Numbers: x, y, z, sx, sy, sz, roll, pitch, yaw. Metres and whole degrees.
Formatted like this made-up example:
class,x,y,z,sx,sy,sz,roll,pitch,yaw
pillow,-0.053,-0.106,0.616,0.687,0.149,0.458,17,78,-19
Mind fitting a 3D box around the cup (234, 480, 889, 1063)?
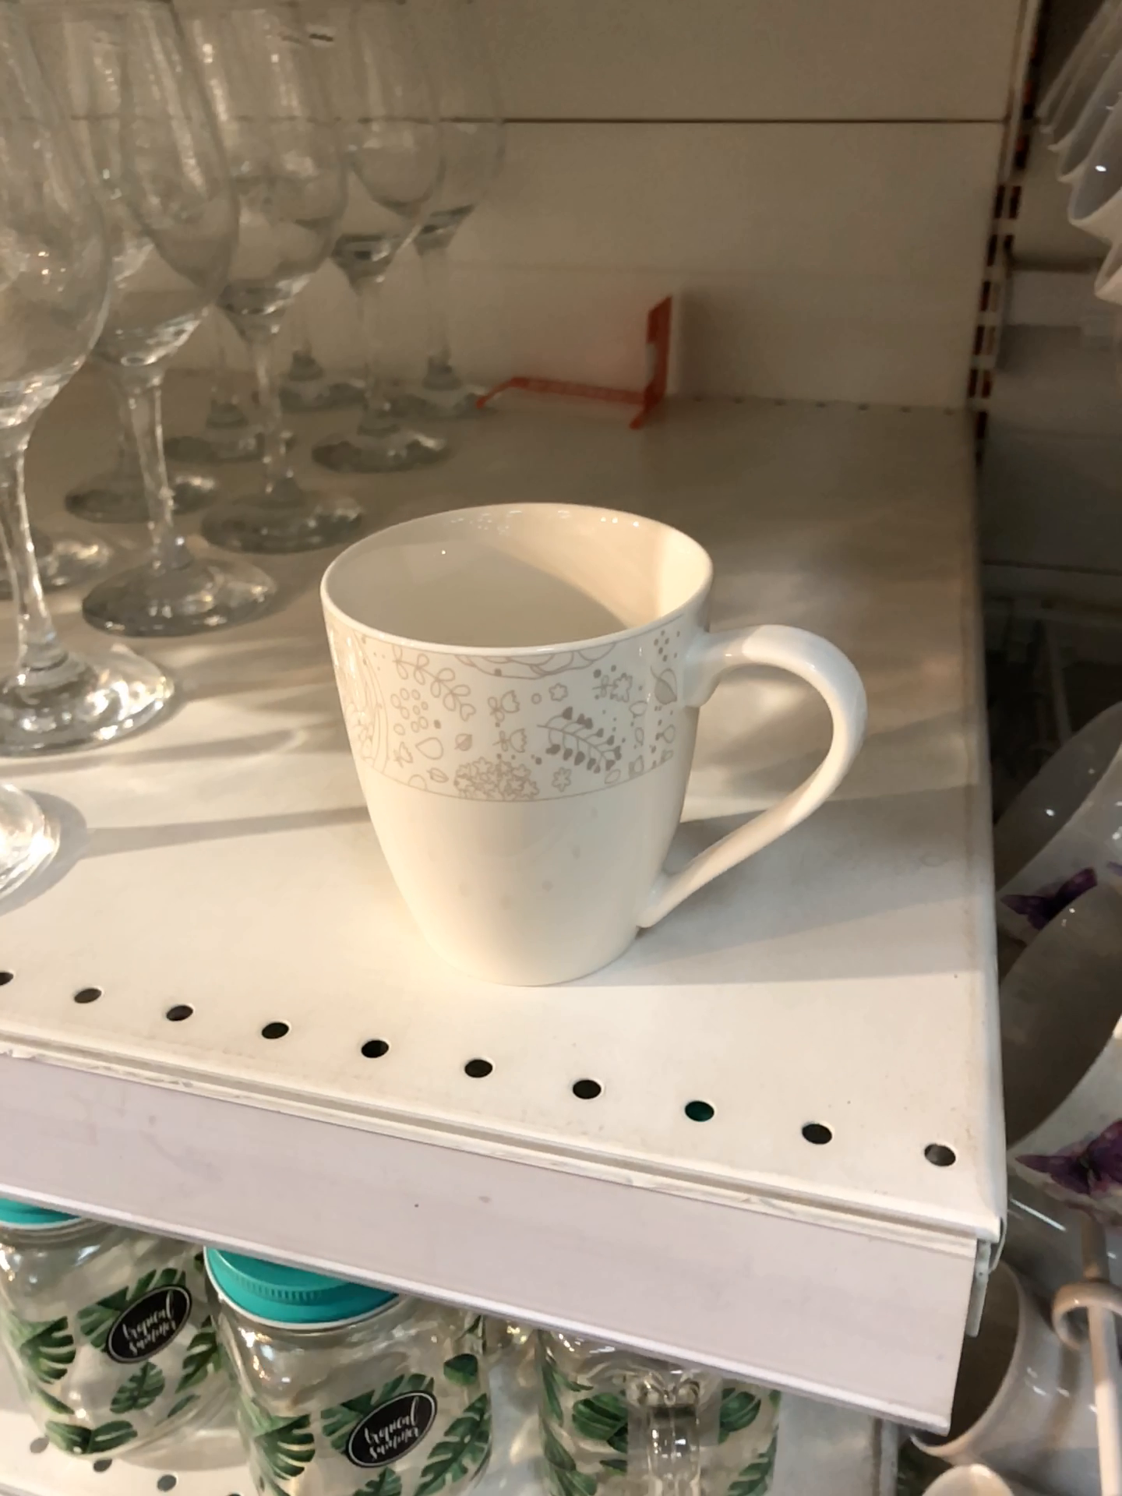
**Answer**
class,x,y,z,sx,sy,sz,roll,pitch,yaw
cup,0.006,-0.002,0.304,0.126,0.091,0.090,9,32,17
